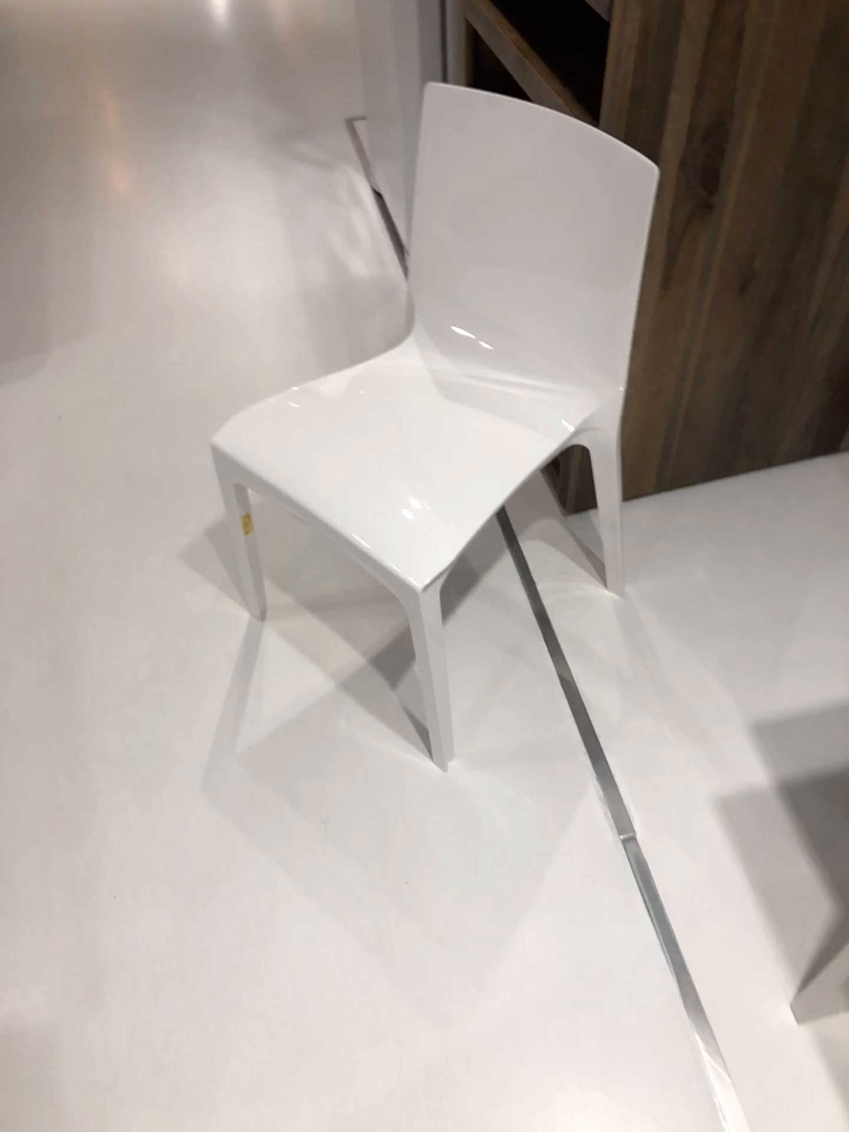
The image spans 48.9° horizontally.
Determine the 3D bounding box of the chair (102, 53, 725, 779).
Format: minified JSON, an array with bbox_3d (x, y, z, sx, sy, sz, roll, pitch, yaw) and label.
[{"bbox_3d":[0.005,-0.190,1.348,0.481,0.755,0.522,34,60,26],"label":"chair"}]
